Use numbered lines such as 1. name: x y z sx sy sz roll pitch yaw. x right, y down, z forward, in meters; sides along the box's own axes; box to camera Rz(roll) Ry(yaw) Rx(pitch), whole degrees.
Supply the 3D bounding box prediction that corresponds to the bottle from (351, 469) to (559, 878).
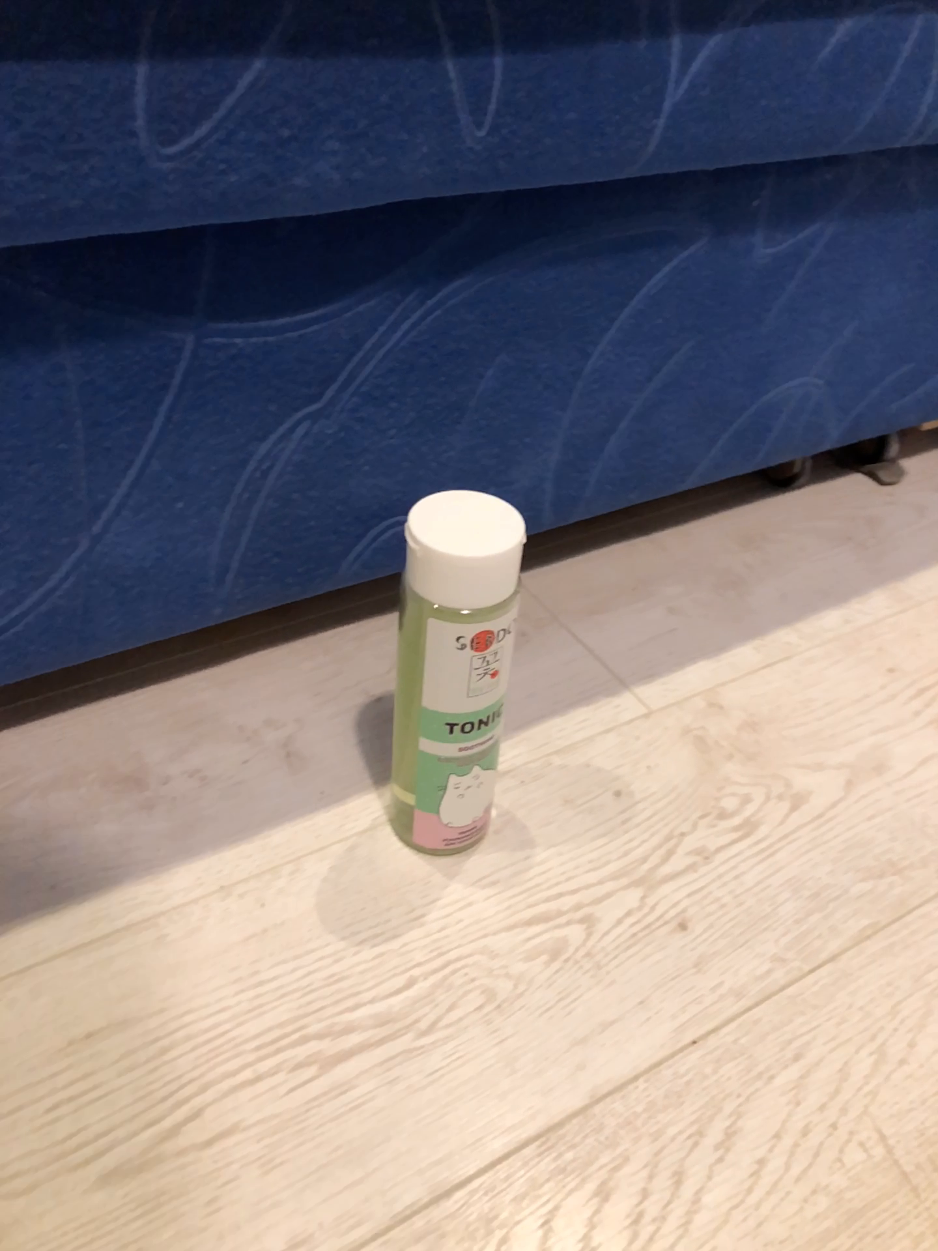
1. bottle: -0.011 0.024 0.429 0.057 0.159 0.053 3 38 -3
